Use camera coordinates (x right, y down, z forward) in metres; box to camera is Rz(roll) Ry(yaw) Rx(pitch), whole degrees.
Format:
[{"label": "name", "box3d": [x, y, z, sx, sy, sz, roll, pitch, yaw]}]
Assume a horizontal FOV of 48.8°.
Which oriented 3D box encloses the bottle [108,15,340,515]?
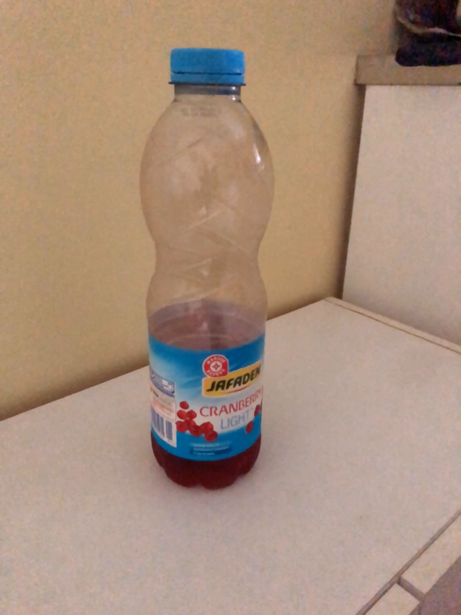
[{"label": "bottle", "box3d": [-0.006, -0.020, 0.315, 0.090, 0.269, 0.080, -16, 28, -35]}]
